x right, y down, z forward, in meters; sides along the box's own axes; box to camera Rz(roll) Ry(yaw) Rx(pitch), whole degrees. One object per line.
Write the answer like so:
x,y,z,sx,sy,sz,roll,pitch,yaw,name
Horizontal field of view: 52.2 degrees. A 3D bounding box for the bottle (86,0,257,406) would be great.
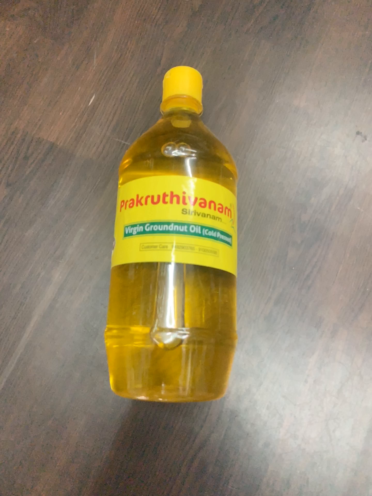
-0.005,-0.035,0.269,0.090,0.080,0.260,3,76,-4,bottle
